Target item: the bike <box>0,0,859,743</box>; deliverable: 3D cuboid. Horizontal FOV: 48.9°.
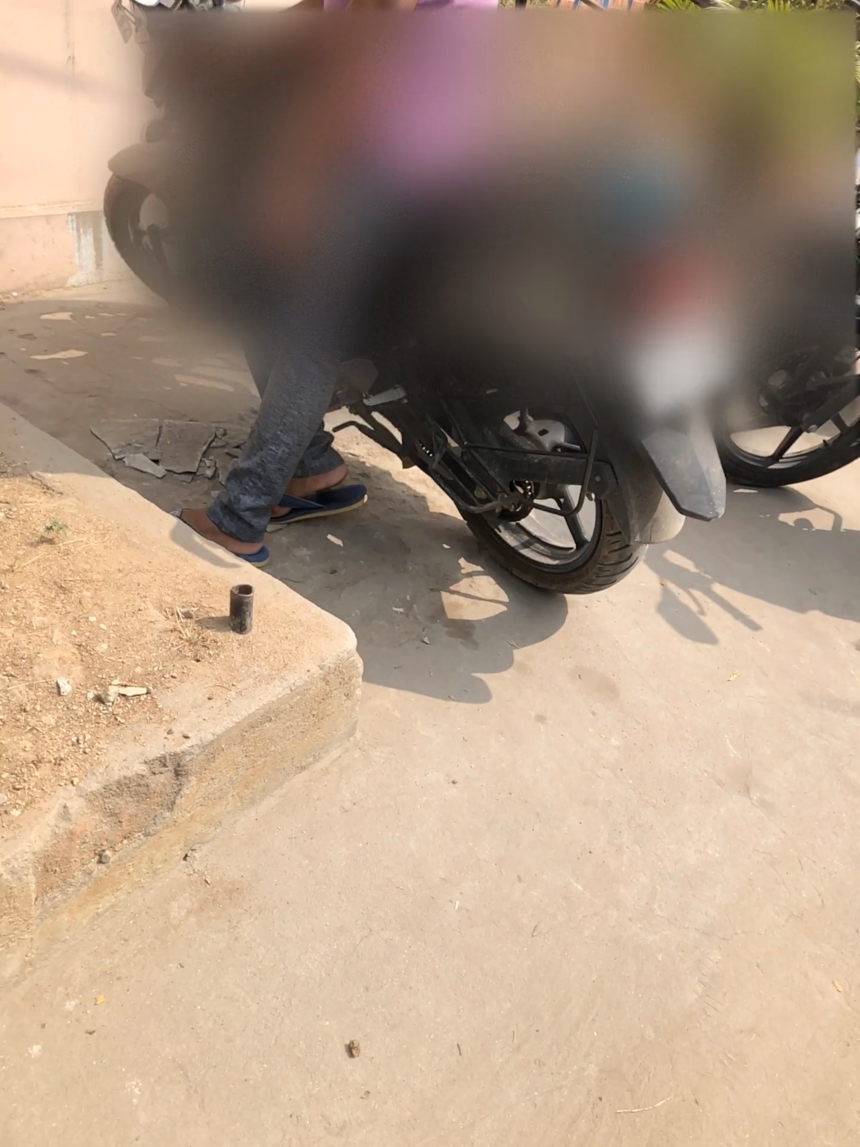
[{"bbox_3d":[-0.349,-0.852,1.886,1.827,1.220,0.814,36,40,29],"label":"bike"}]
